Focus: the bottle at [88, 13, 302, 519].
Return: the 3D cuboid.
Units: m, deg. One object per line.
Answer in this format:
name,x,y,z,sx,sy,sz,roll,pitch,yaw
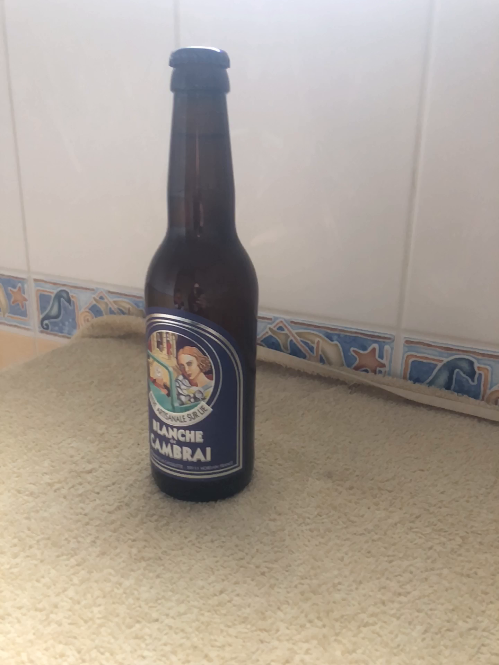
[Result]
bottle,-0.023,-0.028,0.281,0.070,0.219,0.070,1,17,0
